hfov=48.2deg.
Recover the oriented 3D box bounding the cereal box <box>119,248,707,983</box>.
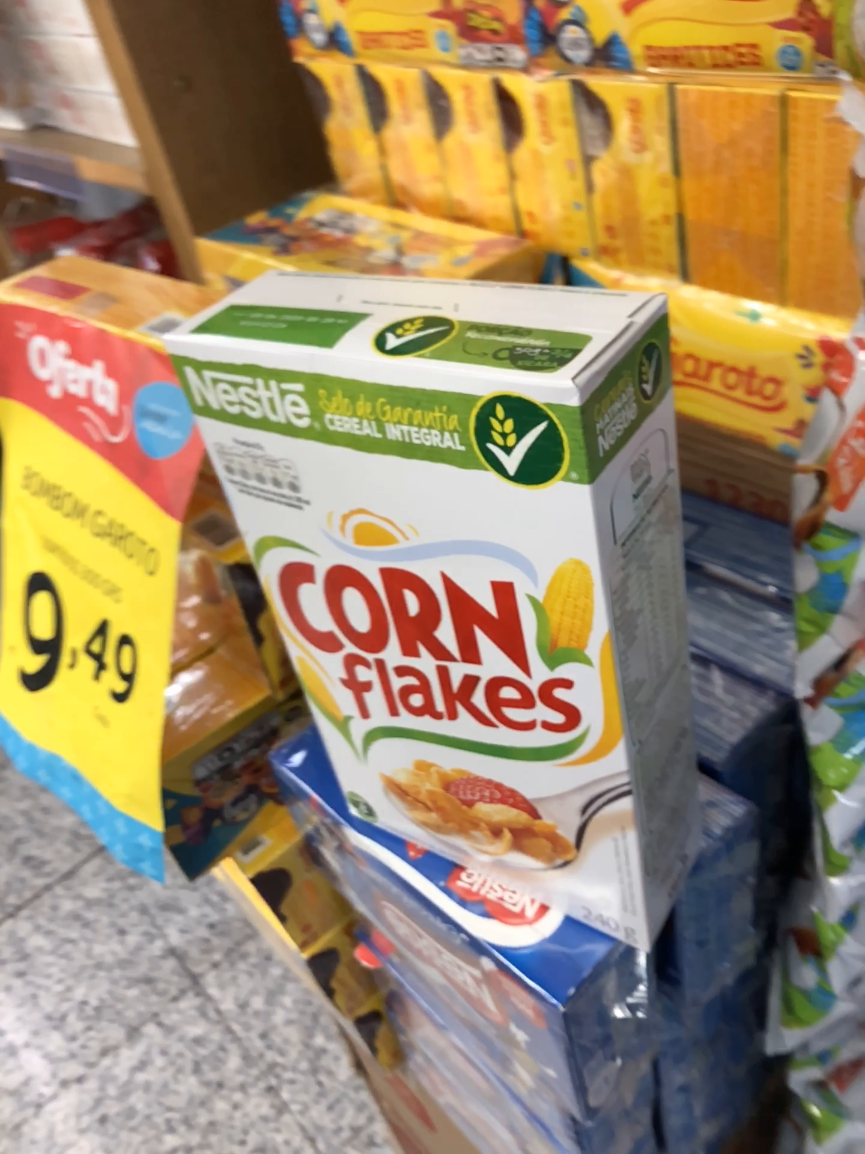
[{"bbox_3d":[0.006,0.017,0.356,0.171,0.248,0.060,16,45,34],"label":"cereal box"}]
